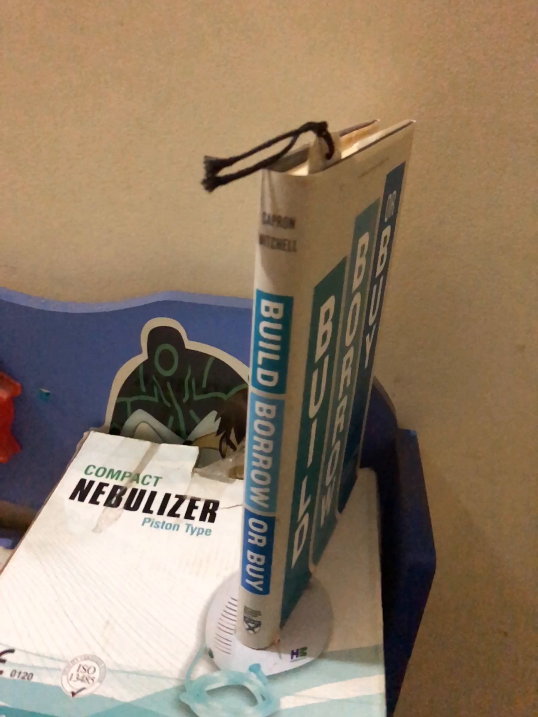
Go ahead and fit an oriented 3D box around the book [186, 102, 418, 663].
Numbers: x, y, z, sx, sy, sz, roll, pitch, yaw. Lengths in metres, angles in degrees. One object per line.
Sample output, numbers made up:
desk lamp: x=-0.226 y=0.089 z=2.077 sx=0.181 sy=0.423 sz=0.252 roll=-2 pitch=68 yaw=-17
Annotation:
book: x=0.023 y=0.003 z=0.318 sx=0.040 sy=0.239 sz=0.181 roll=14 pitch=31 yaw=19
